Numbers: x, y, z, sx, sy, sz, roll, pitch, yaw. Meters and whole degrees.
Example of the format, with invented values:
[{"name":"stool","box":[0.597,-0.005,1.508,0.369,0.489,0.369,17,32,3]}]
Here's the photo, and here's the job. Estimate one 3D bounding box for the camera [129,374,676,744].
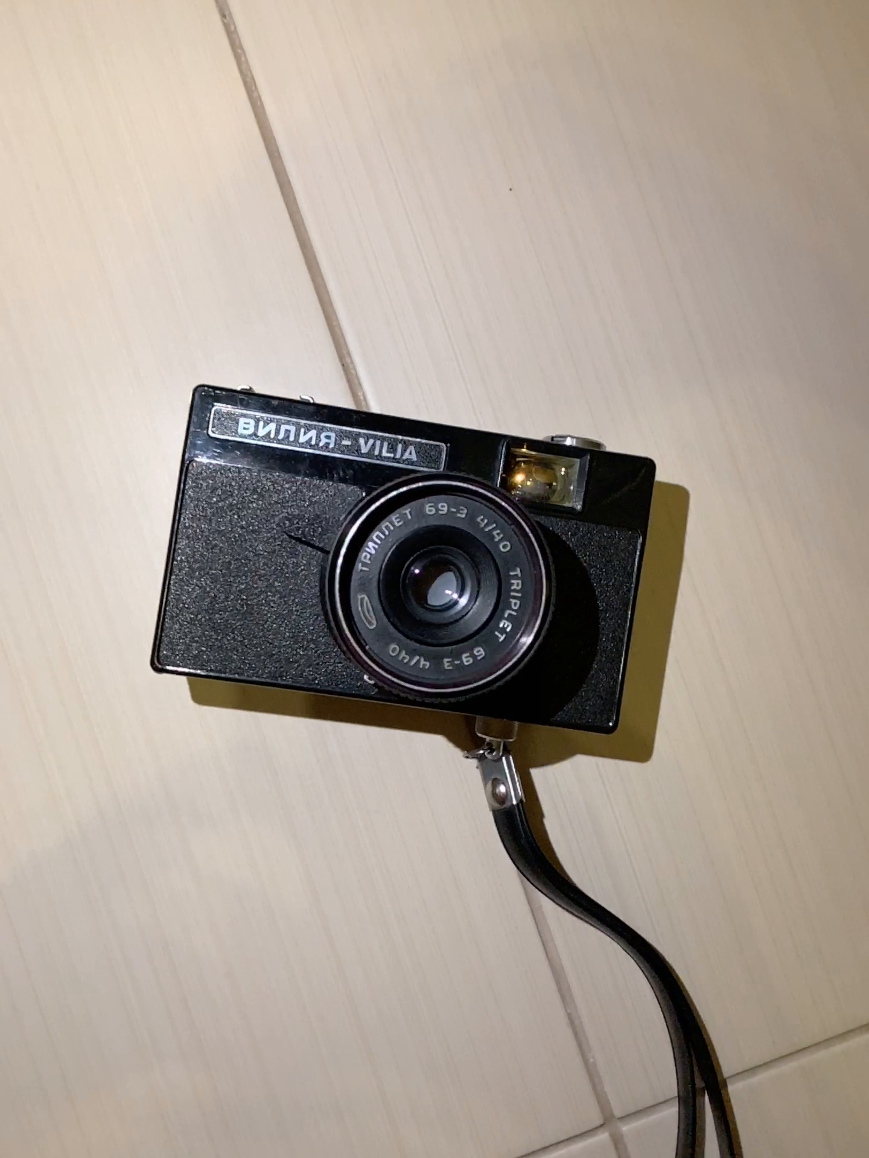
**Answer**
[{"name":"camera","box":[-0.008,-0.005,0.240,0.124,0.041,0.072,9,90,-2]}]
